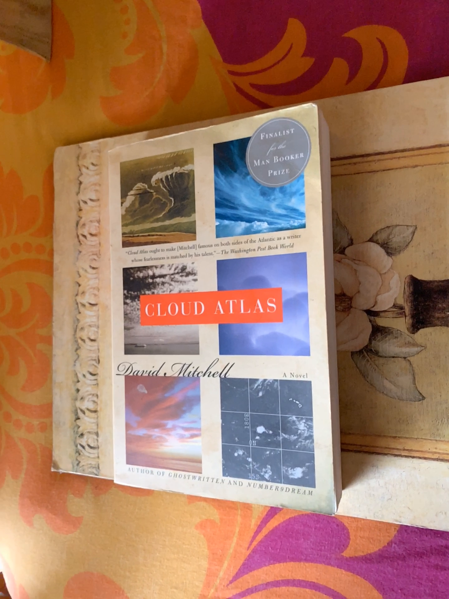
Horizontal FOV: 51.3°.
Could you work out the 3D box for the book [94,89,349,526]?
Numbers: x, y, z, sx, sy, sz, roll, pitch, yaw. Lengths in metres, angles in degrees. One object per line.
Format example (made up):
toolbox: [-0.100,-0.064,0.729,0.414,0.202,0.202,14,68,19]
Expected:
book: [-0.006,0.004,0.251,0.130,0.040,0.190,-2,87,27]
